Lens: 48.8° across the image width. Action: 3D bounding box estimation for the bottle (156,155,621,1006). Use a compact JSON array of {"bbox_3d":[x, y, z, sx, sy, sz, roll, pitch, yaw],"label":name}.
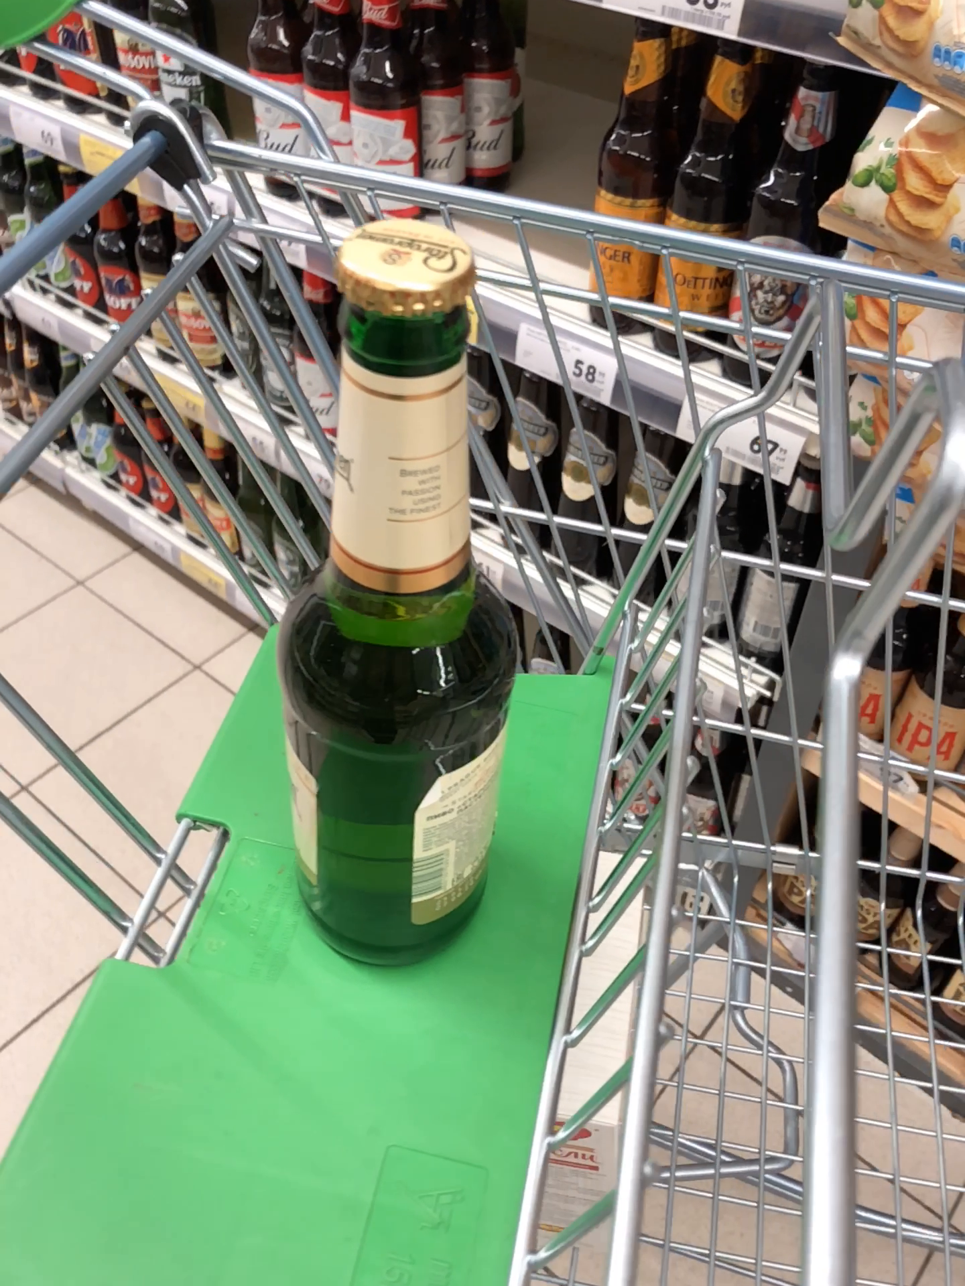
[{"bbox_3d":[-0.022,0.005,0.298,0.070,0.239,0.070,2,46,-2],"label":"bottle"}]
